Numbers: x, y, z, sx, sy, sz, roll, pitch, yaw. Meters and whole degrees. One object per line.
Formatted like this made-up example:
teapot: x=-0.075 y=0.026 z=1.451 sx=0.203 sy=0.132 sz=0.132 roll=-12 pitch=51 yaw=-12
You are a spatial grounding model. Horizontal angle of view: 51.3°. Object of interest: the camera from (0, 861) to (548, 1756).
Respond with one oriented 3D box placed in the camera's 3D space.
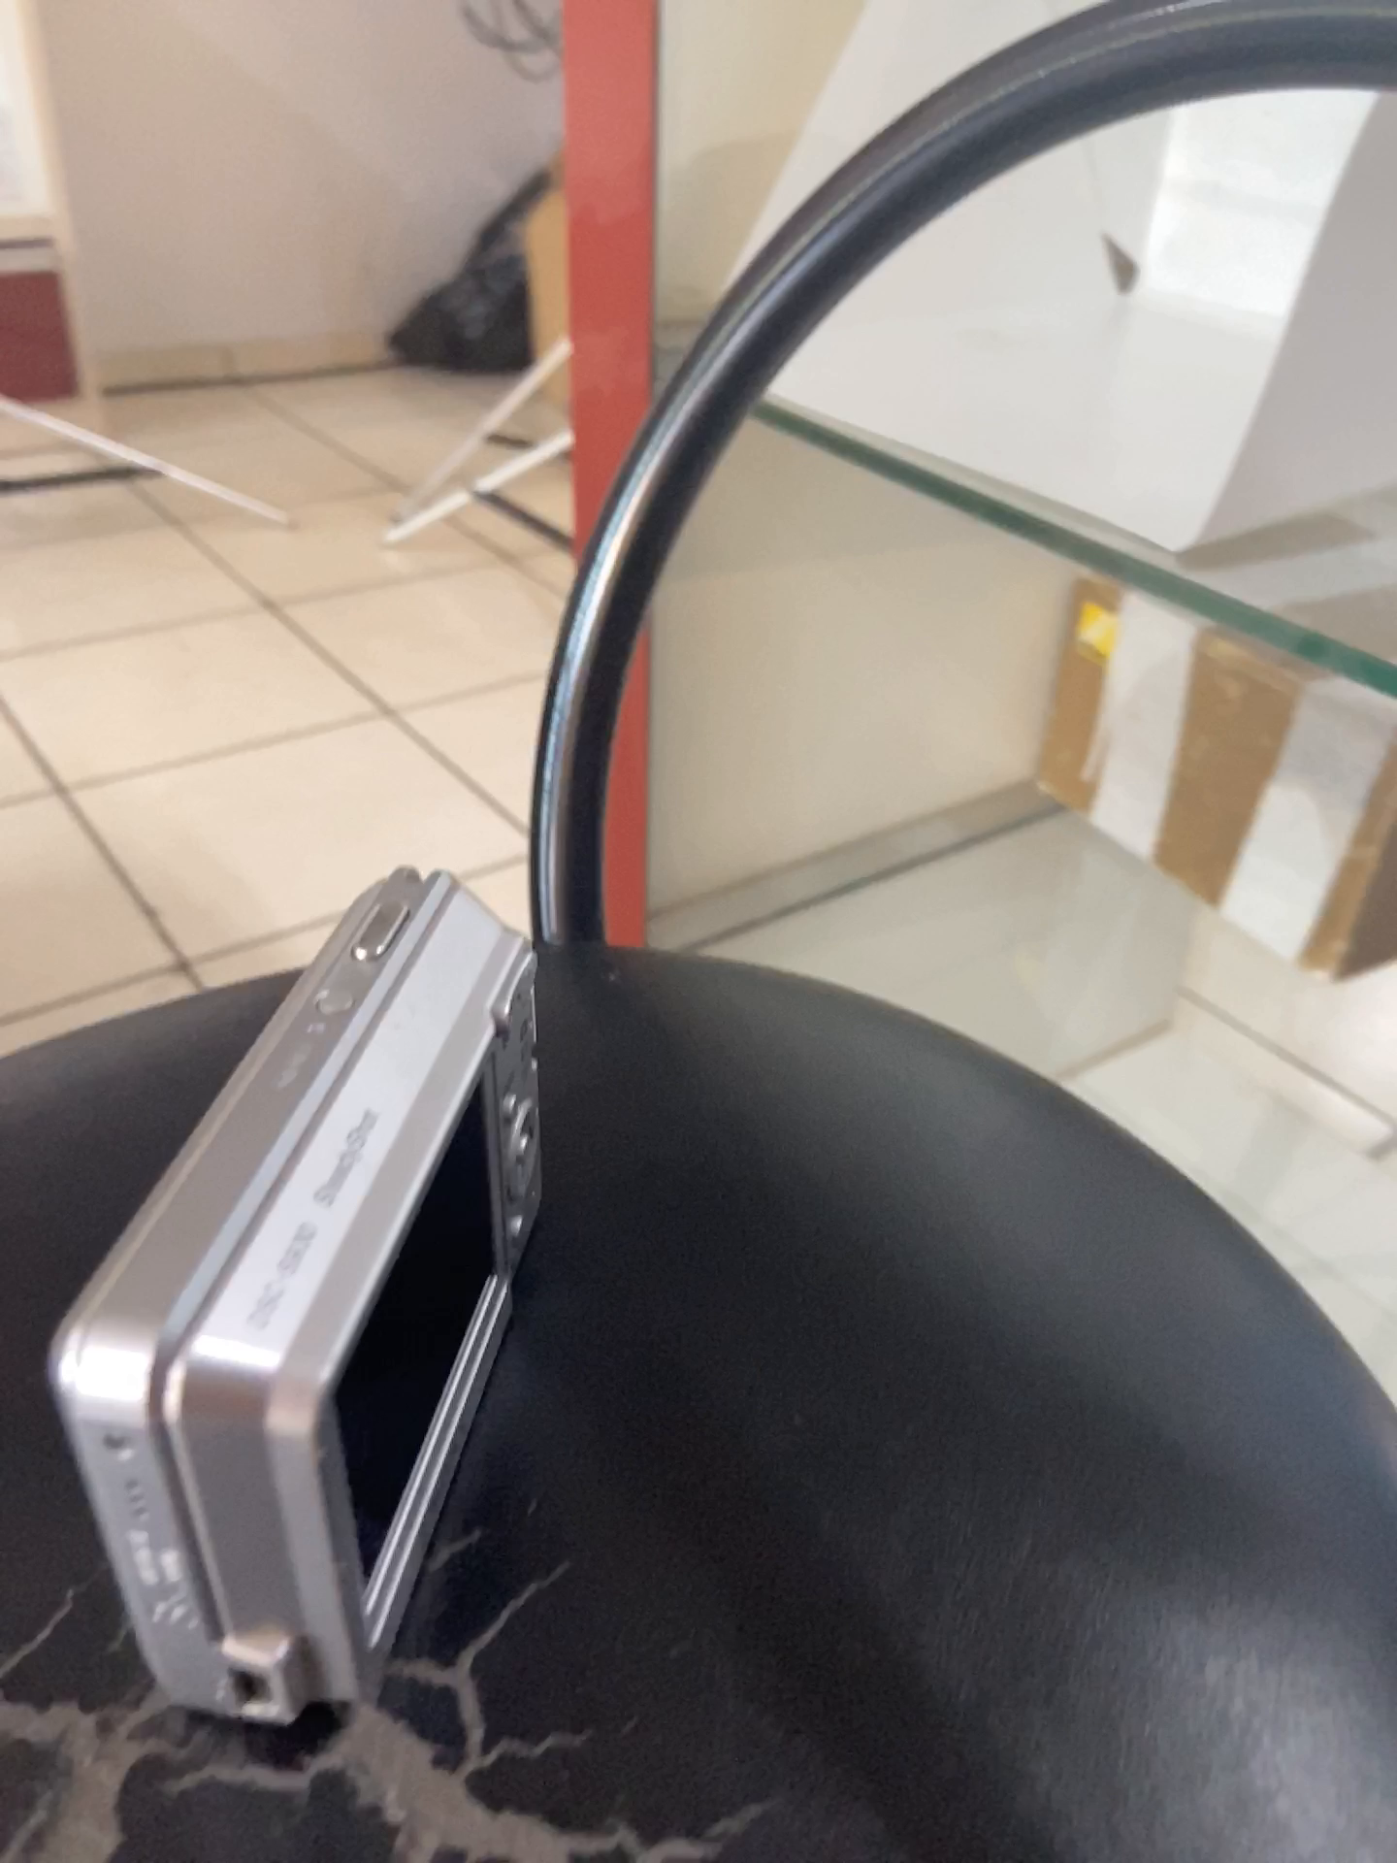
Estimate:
camera: x=-0.046 y=0.039 z=0.176 sx=0.035 sy=0.057 sz=0.083 roll=7 pitch=34 yaw=6
